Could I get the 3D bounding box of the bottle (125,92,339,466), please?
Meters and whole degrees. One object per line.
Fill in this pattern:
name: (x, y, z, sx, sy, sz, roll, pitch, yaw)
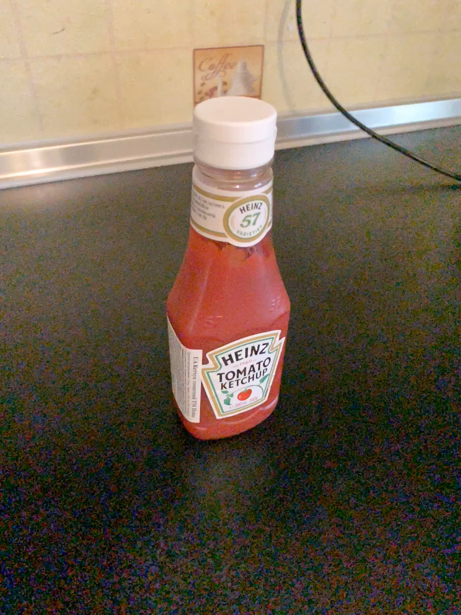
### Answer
bottle: (-0.004, -0.003, 0.250, 0.070, 0.189, 0.050, -16, 44, -20)
